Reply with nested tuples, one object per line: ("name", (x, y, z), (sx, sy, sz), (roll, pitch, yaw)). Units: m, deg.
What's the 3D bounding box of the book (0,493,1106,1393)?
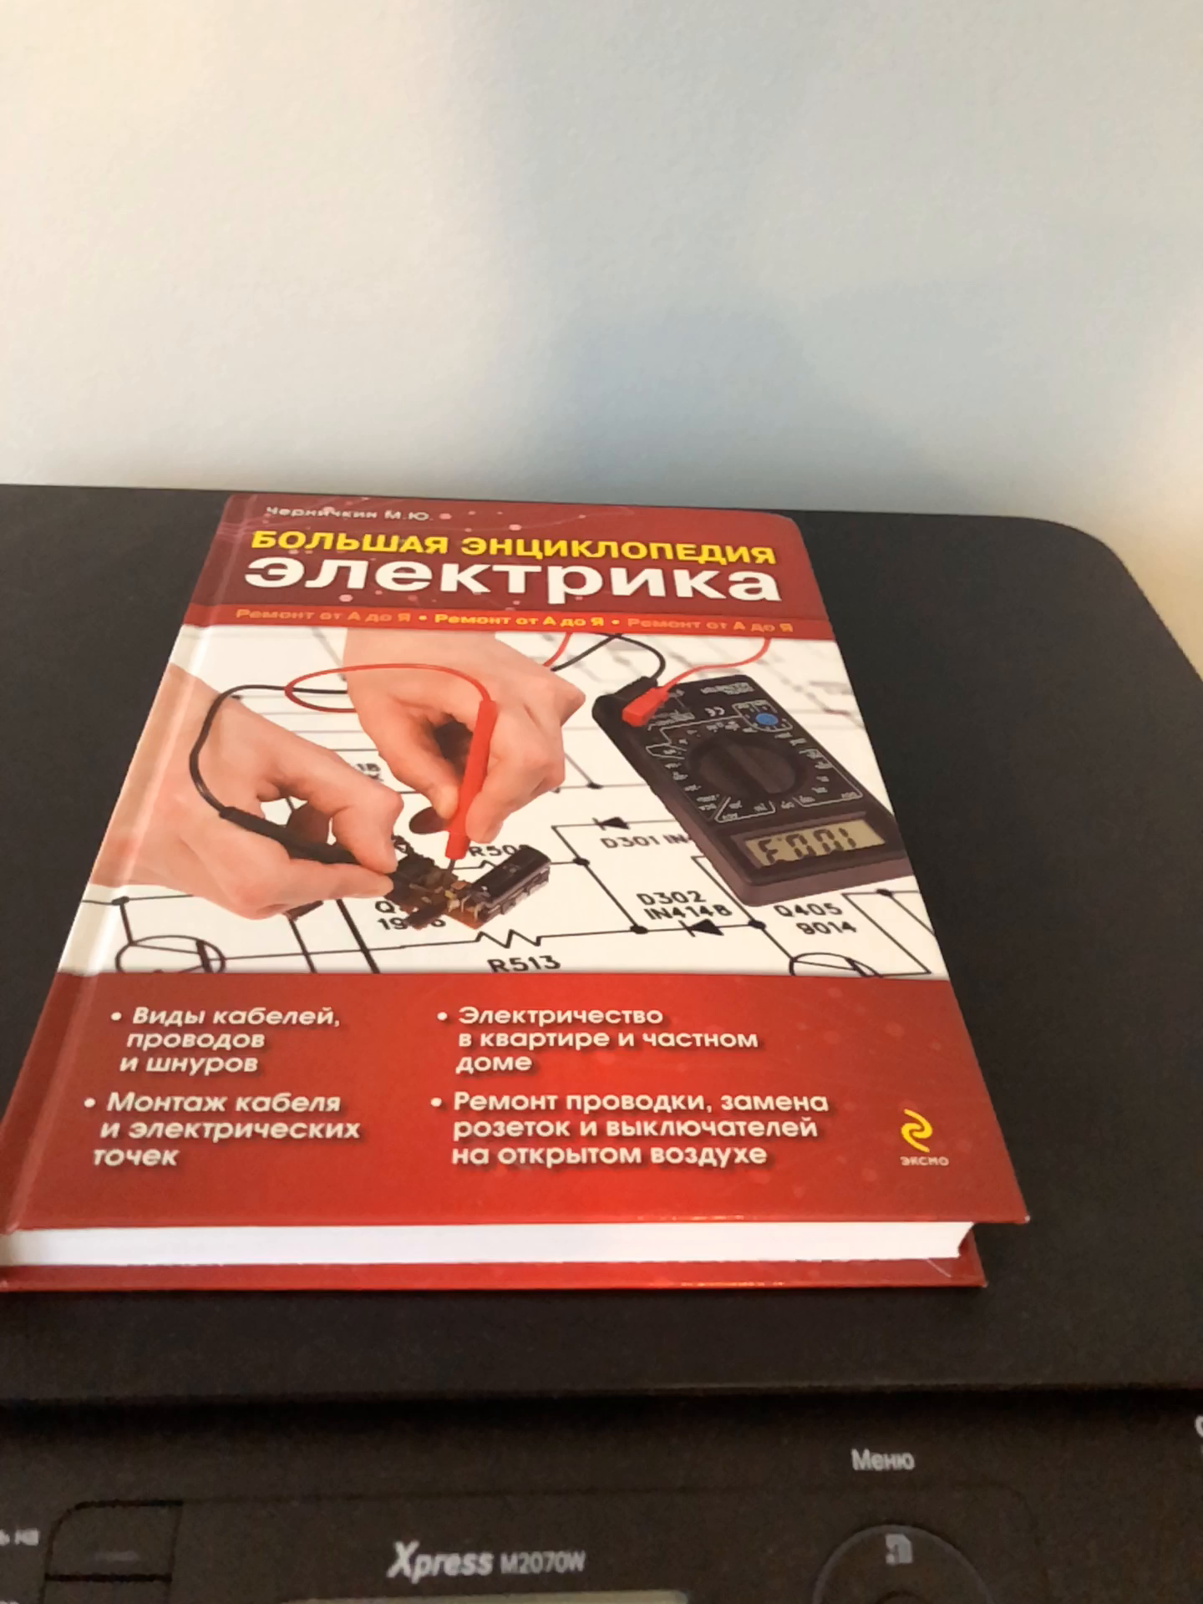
("book", (-0.012, 0.006, 0.306), (0.170, 0.040, 0.242), (1, 40, -4))
